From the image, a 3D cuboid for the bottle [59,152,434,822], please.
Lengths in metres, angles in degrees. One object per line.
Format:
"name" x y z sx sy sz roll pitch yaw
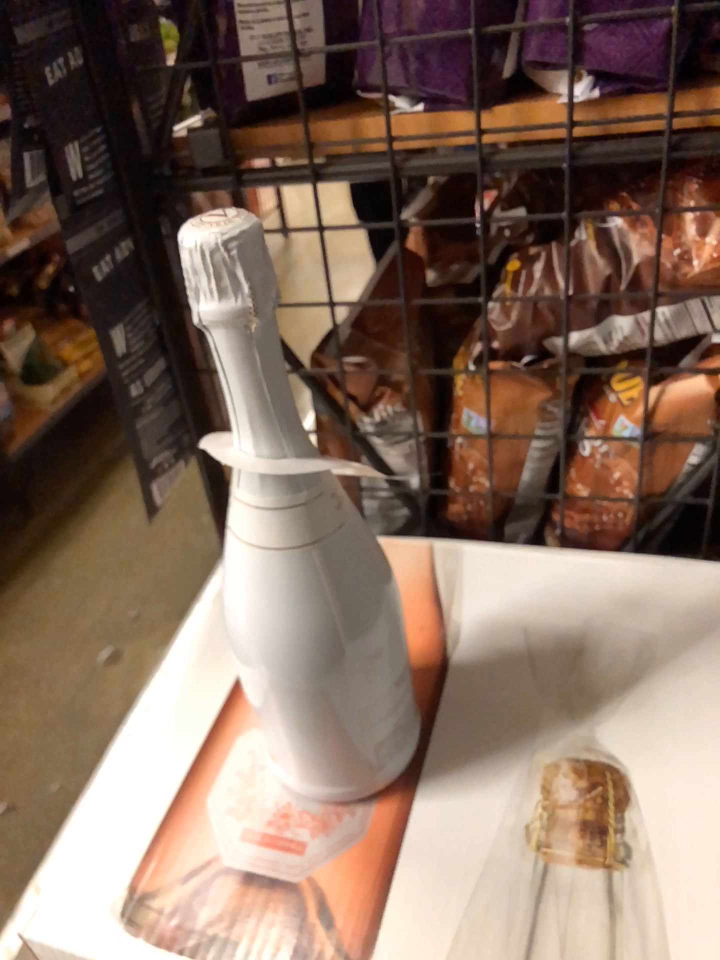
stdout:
"bottle" -0.028 0.023 0.378 0.094 0.310 0.086 -6 33 4
